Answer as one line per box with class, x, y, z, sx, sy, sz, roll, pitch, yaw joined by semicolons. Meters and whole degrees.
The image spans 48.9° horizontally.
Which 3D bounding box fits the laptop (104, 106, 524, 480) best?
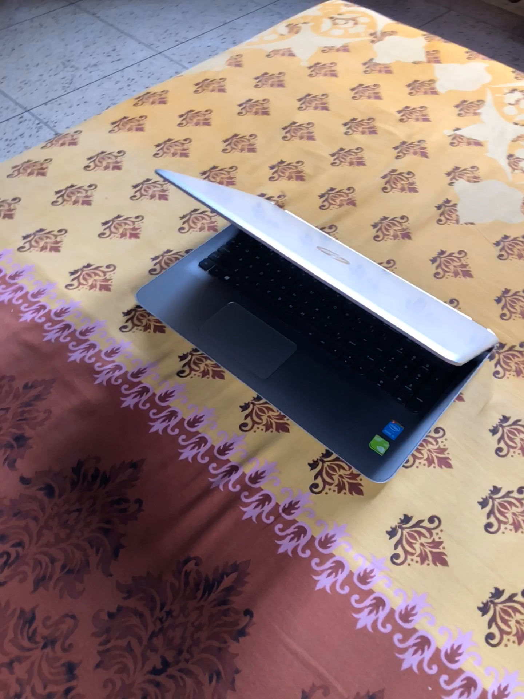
laptop;0.057;-0.086;0.651;0.373;0.155;0.249;36;59;22
